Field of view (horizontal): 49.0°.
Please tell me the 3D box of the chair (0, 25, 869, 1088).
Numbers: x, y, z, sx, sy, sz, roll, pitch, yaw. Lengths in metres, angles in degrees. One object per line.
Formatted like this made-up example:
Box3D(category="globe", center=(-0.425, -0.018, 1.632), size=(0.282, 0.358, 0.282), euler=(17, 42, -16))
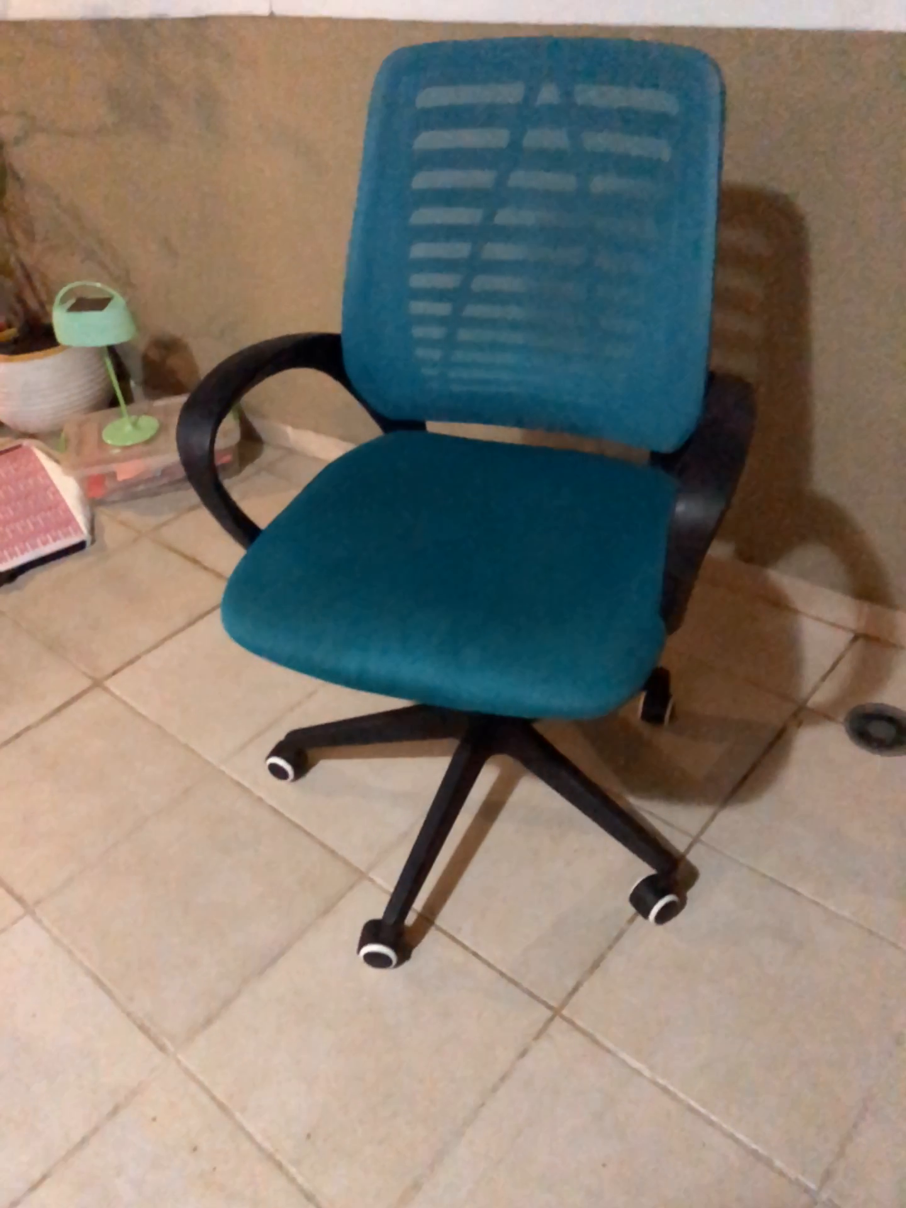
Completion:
Box3D(category="chair", center=(0.028, -0.105, 1.223), size=(0.711, 0.922, 0.745), euler=(10, 40, 21))
